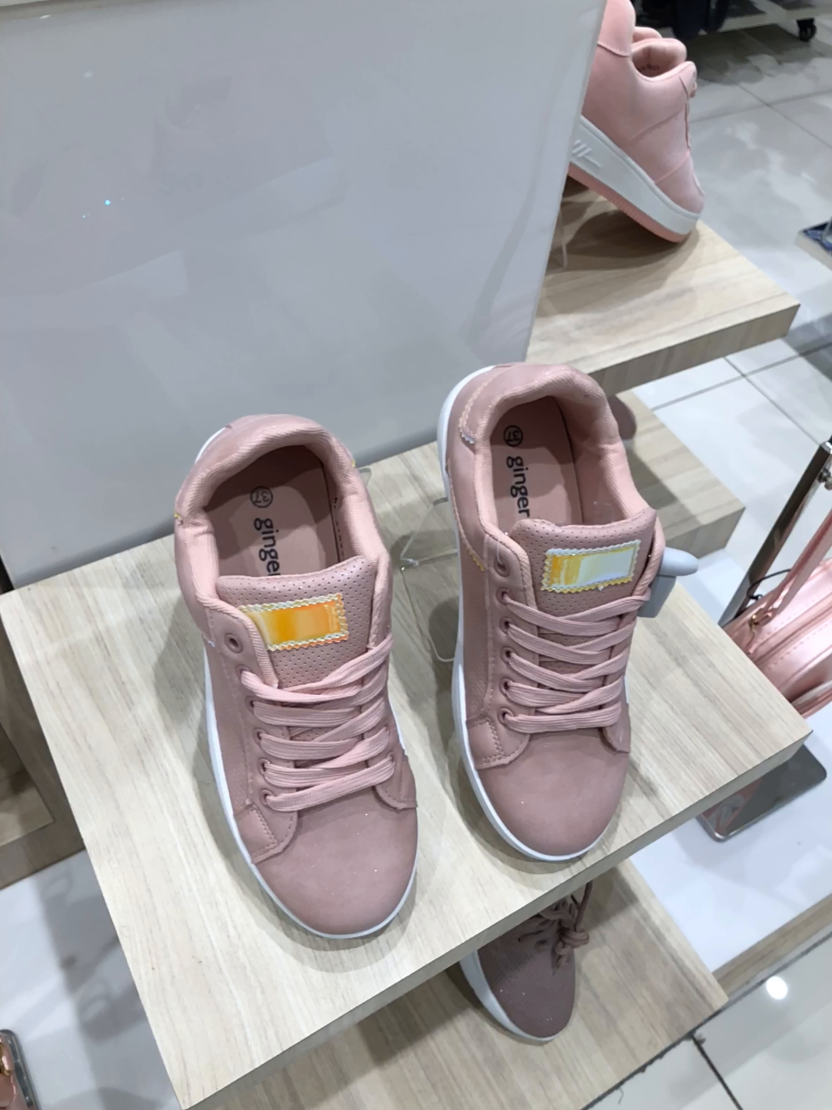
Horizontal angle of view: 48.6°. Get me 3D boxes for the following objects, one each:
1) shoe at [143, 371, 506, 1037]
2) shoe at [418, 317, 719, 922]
[{"bbox_3d":[-0.045,0.057,0.419,0.103,0.094,0.252,-11,92,-15],"label":"shoe"},{"bbox_3d":[0.069,0.025,0.456,0.099,0.094,0.261,-4,88,-12],"label":"shoe"}]
